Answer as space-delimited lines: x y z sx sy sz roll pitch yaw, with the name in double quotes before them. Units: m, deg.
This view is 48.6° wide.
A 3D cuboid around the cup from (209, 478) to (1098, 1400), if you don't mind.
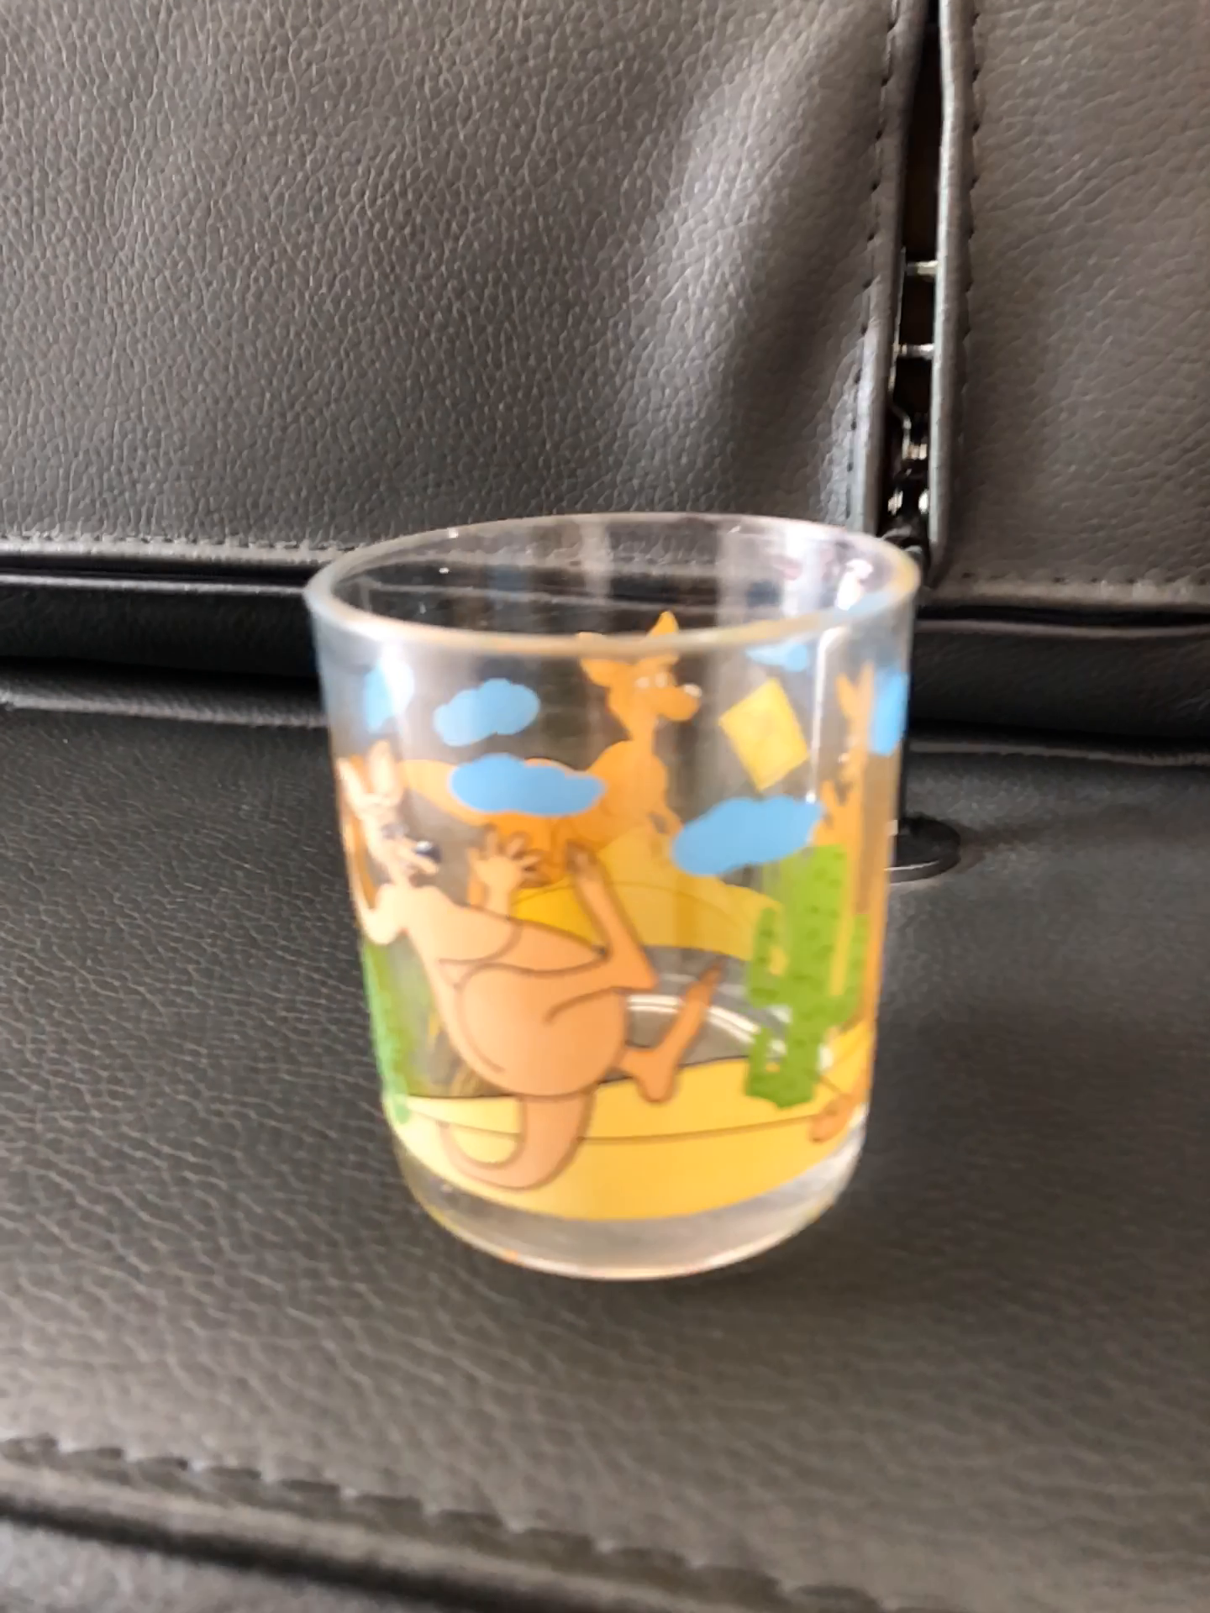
"cup" 0.009 0.006 0.173 0.080 0.080 0.070 13 26 32
